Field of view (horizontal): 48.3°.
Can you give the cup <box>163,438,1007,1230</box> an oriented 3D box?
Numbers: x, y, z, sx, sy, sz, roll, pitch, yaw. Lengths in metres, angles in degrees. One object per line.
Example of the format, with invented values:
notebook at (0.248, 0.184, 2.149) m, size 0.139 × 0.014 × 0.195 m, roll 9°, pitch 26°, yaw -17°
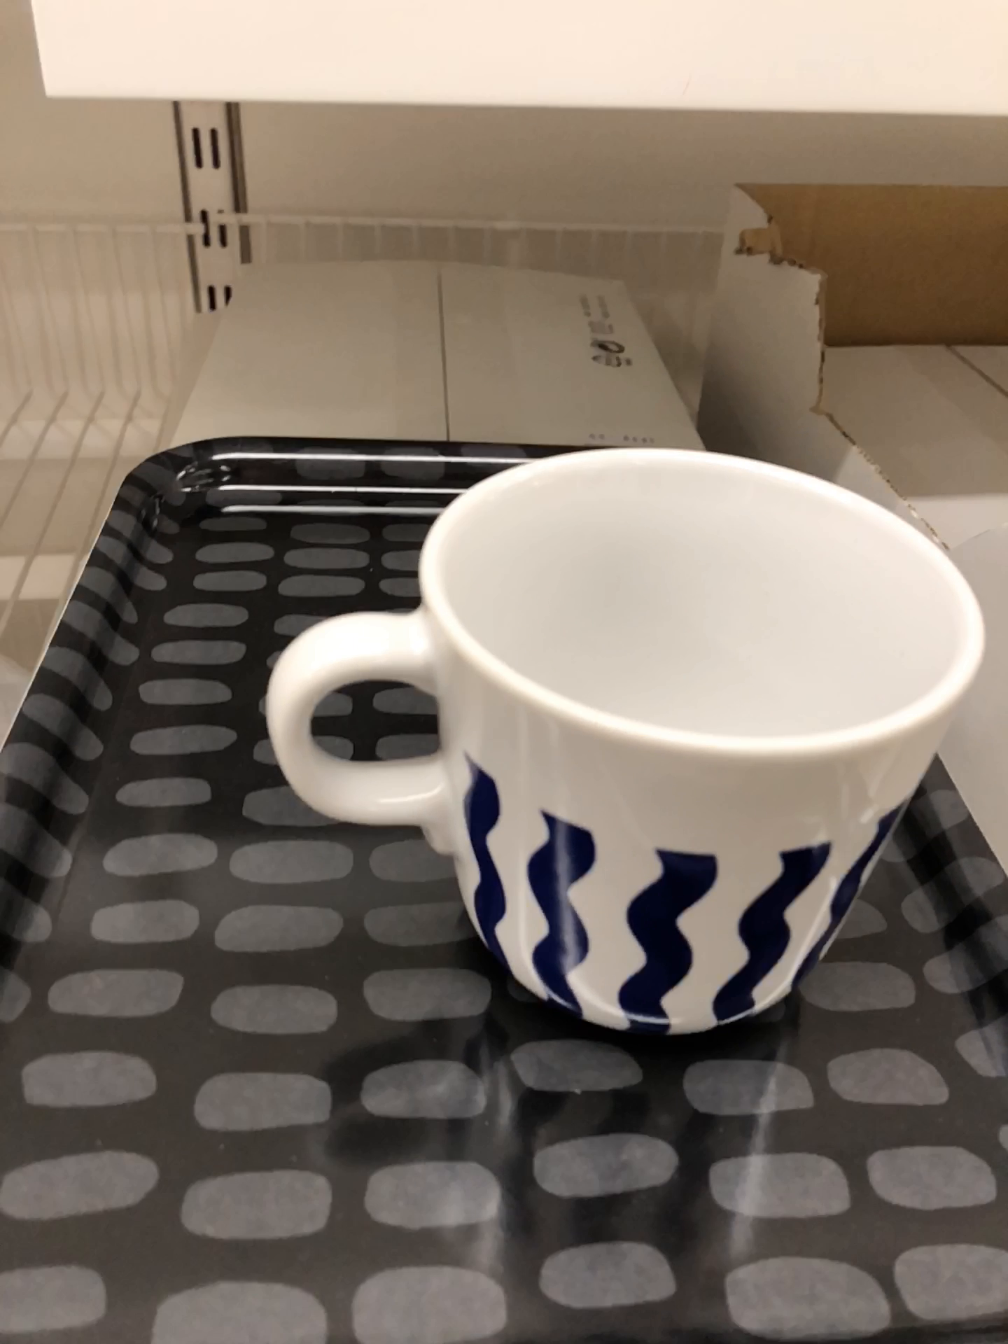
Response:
cup at (0.013, 0.018, 0.189) m, size 0.120 × 0.080 × 0.090 m, roll -5°, pitch 34°, yaw -10°
